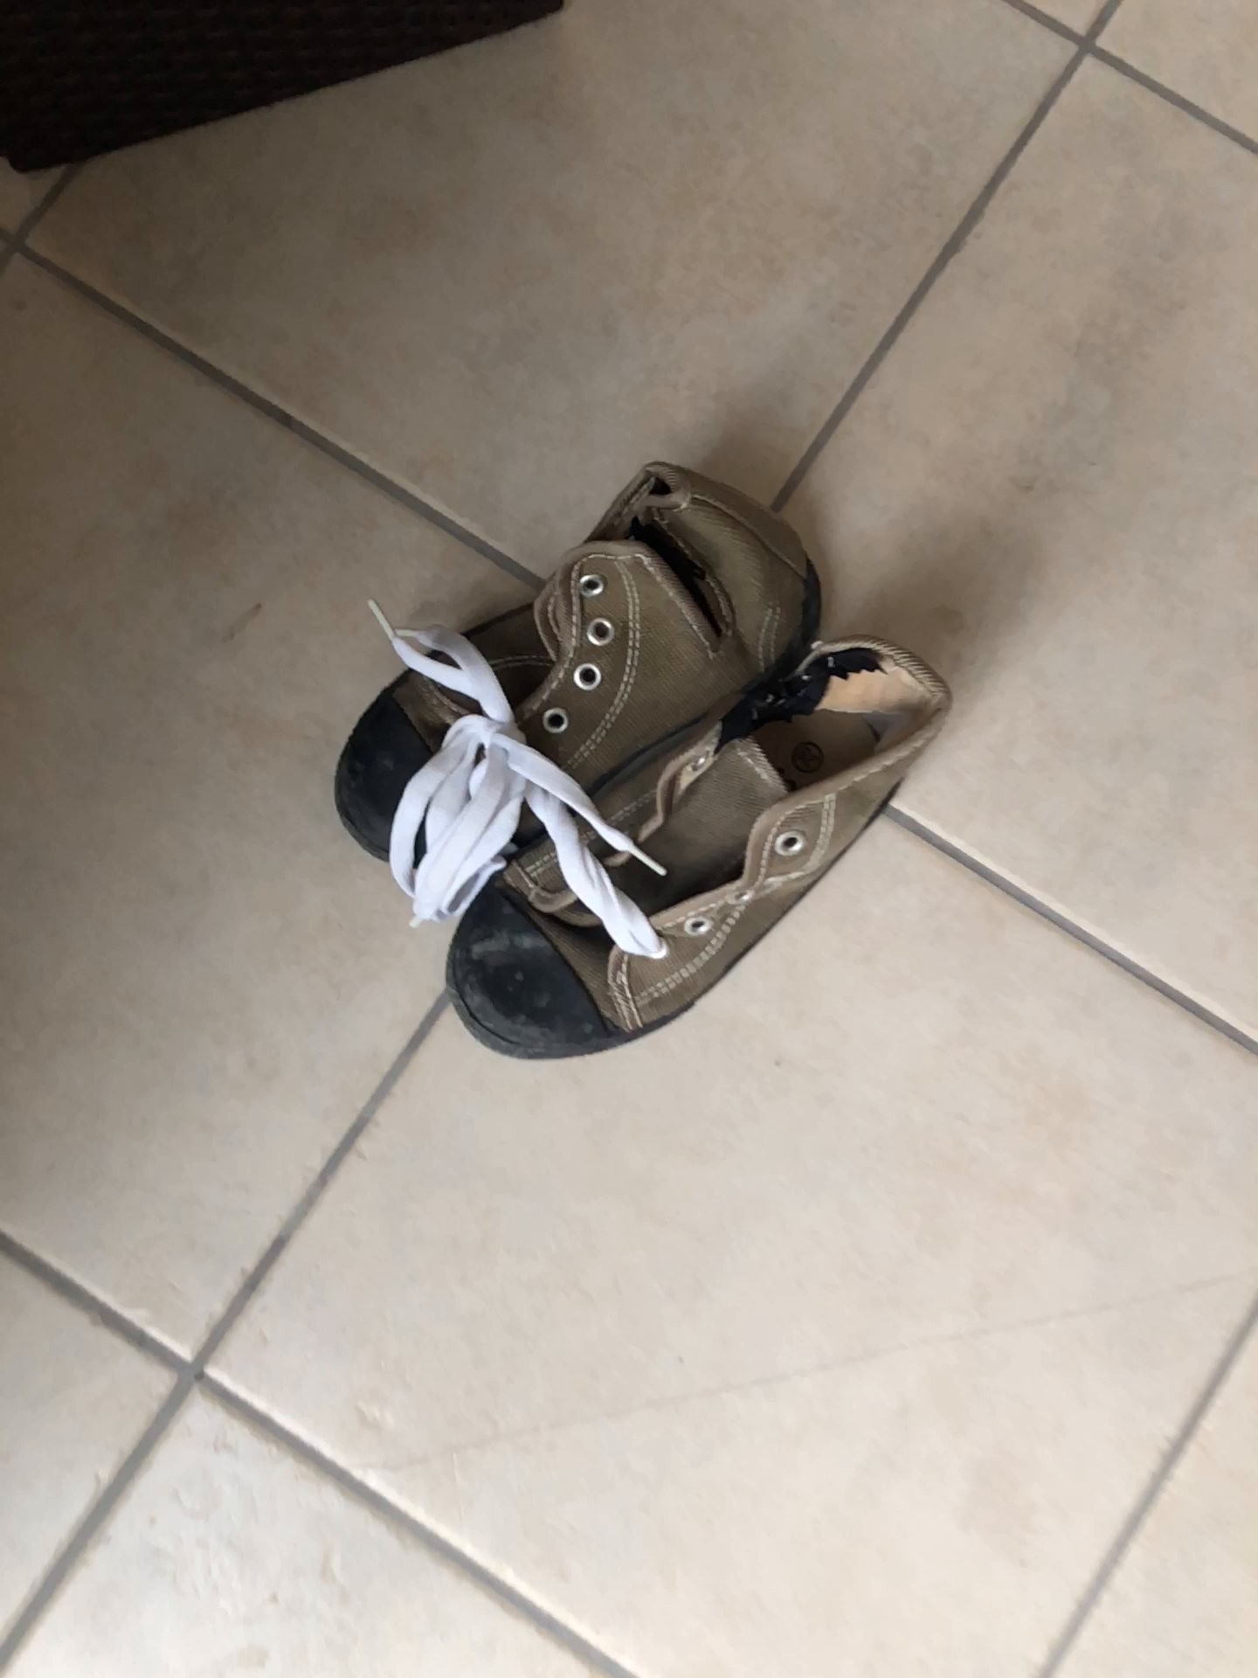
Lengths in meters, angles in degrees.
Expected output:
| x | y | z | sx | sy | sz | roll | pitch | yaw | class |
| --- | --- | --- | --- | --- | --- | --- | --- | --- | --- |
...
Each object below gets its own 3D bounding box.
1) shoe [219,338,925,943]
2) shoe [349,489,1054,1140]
| x | y | z | sx | sy | sz | roll | pitch | yaw | class |
| --- | --- | --- | --- | --- | --- | --- | --- | --- | --- |
| -0.016 | -0.058 | 0.467 | 0.200 | 0.110 | 0.080 | -34 | 84 | -5 | shoe |
| 0.022 | -0.003 | 0.454 | 0.200 | 0.110 | 0.080 | -40 | 85 | -5 | shoe |
